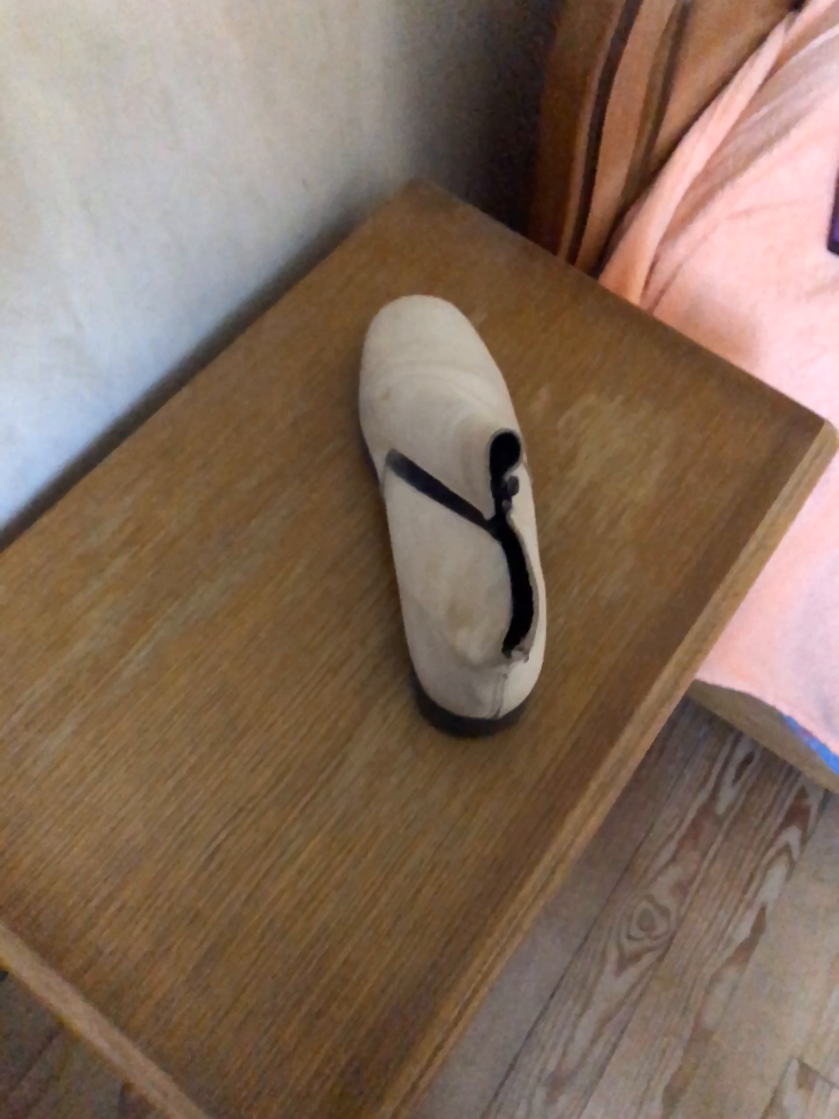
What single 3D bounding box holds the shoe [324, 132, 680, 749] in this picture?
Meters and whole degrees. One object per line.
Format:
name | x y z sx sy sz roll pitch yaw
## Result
shoe | 0.022 -0.063 0.463 0.100 0.129 0.271 -8 63 -7
